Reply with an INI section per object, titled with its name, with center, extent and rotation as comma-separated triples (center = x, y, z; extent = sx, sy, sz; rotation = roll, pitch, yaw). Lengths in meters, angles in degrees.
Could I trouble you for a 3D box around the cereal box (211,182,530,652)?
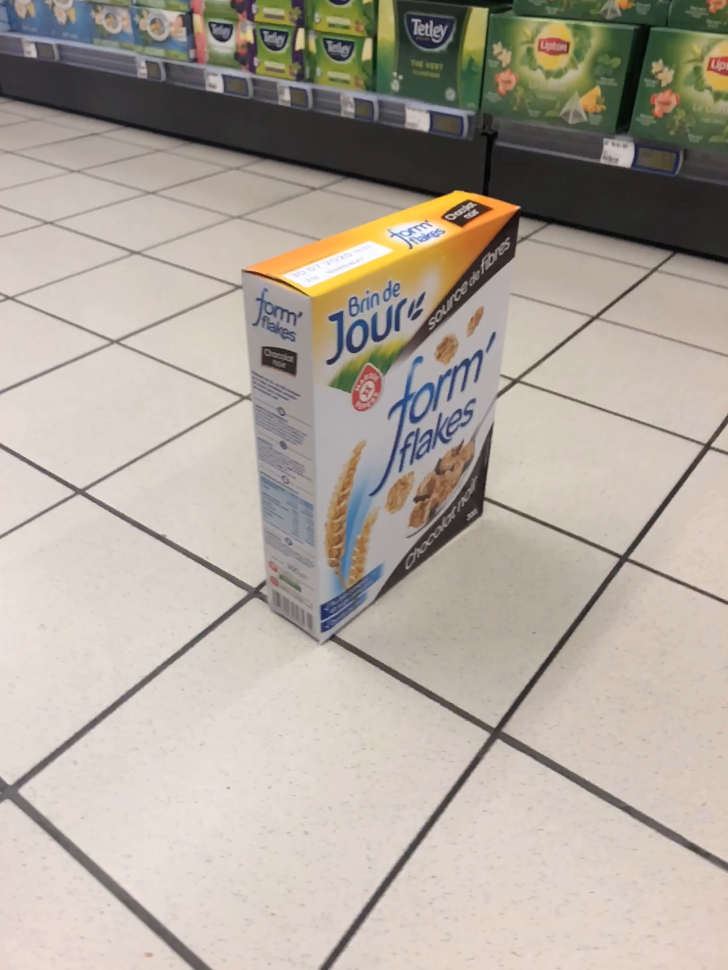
[cereal box]
center = 0.010, -0.048, 0.536
extent = 0.070, 0.248, 0.201
rotation = 27, 43, 32
